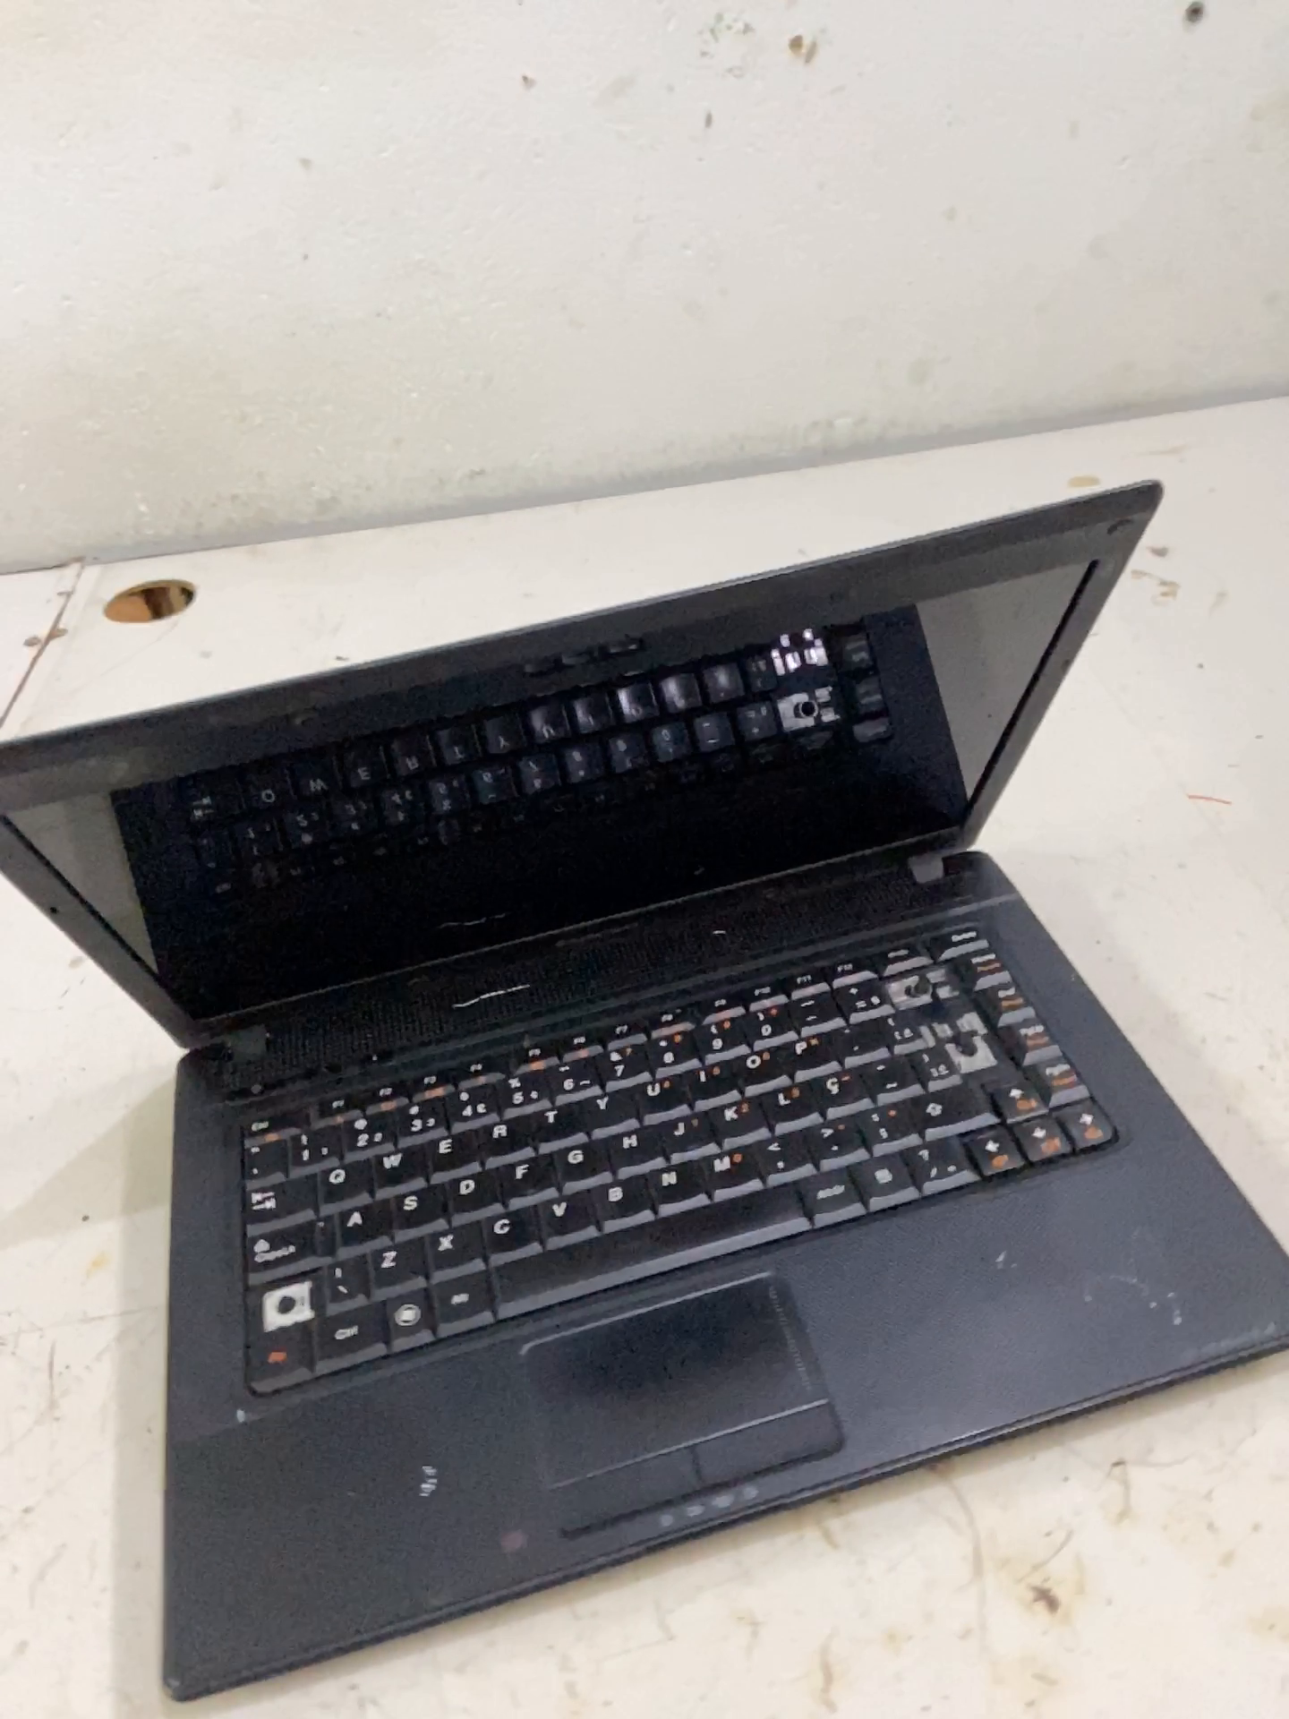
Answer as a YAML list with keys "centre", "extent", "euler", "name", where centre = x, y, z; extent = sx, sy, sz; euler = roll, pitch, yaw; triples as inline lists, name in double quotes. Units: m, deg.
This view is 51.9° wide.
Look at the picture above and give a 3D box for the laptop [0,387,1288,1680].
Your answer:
- centre: [0.001, 0.028, 0.388]
  extent: [0.333, 0.194, 0.224]
  euler: [-14, 40, -8]
  name: "laptop"
